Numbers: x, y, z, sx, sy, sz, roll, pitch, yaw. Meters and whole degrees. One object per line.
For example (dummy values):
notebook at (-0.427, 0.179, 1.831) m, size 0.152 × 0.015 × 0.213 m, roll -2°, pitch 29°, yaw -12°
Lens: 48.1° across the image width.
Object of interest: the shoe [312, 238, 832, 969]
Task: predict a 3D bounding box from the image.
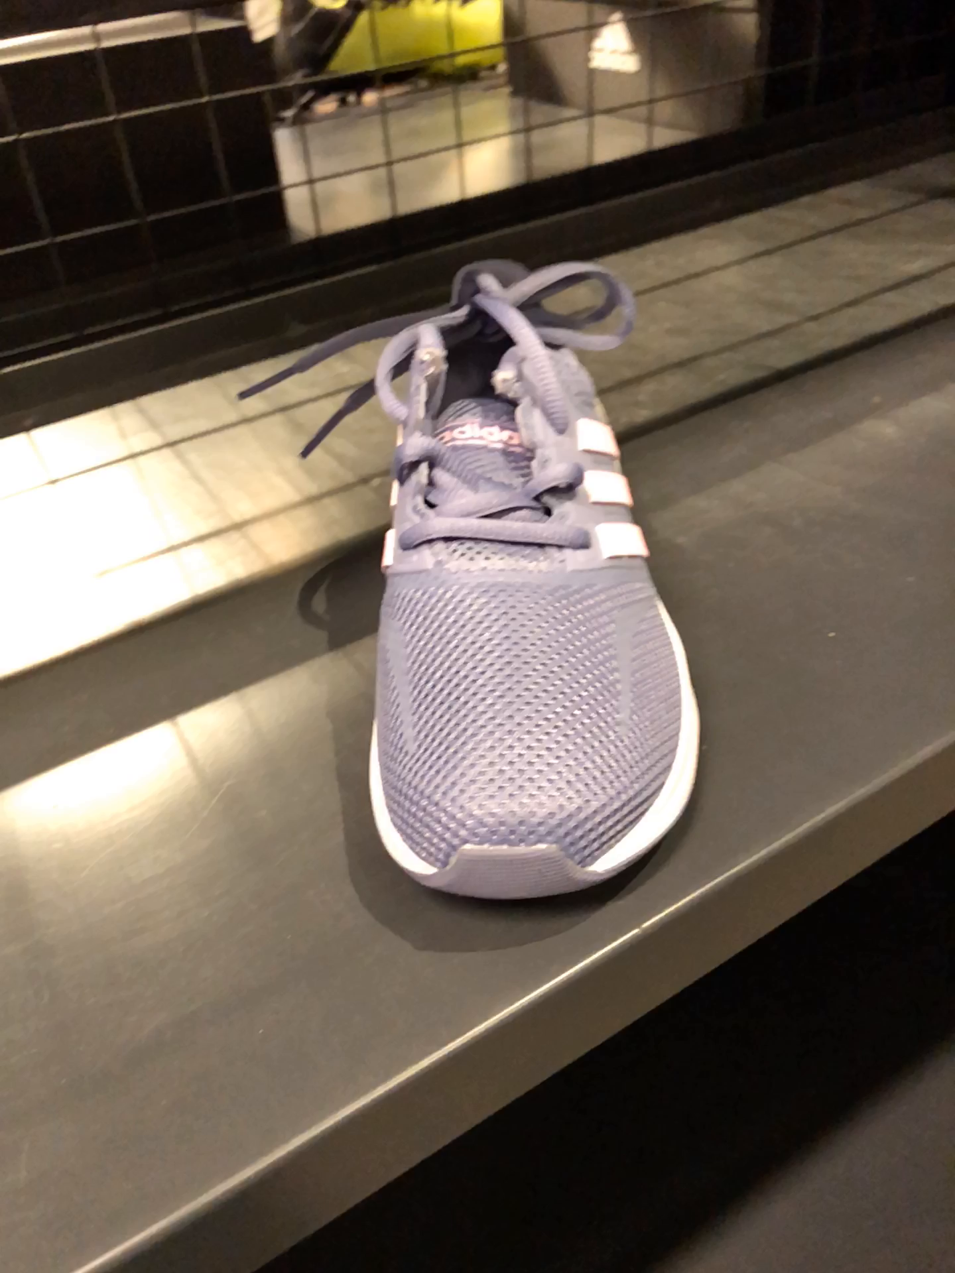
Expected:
shoe at (0.020, -0.030, 0.301) m, size 0.090 × 0.090 × 0.221 m, roll -4°, pitch 36°, yaw 3°
